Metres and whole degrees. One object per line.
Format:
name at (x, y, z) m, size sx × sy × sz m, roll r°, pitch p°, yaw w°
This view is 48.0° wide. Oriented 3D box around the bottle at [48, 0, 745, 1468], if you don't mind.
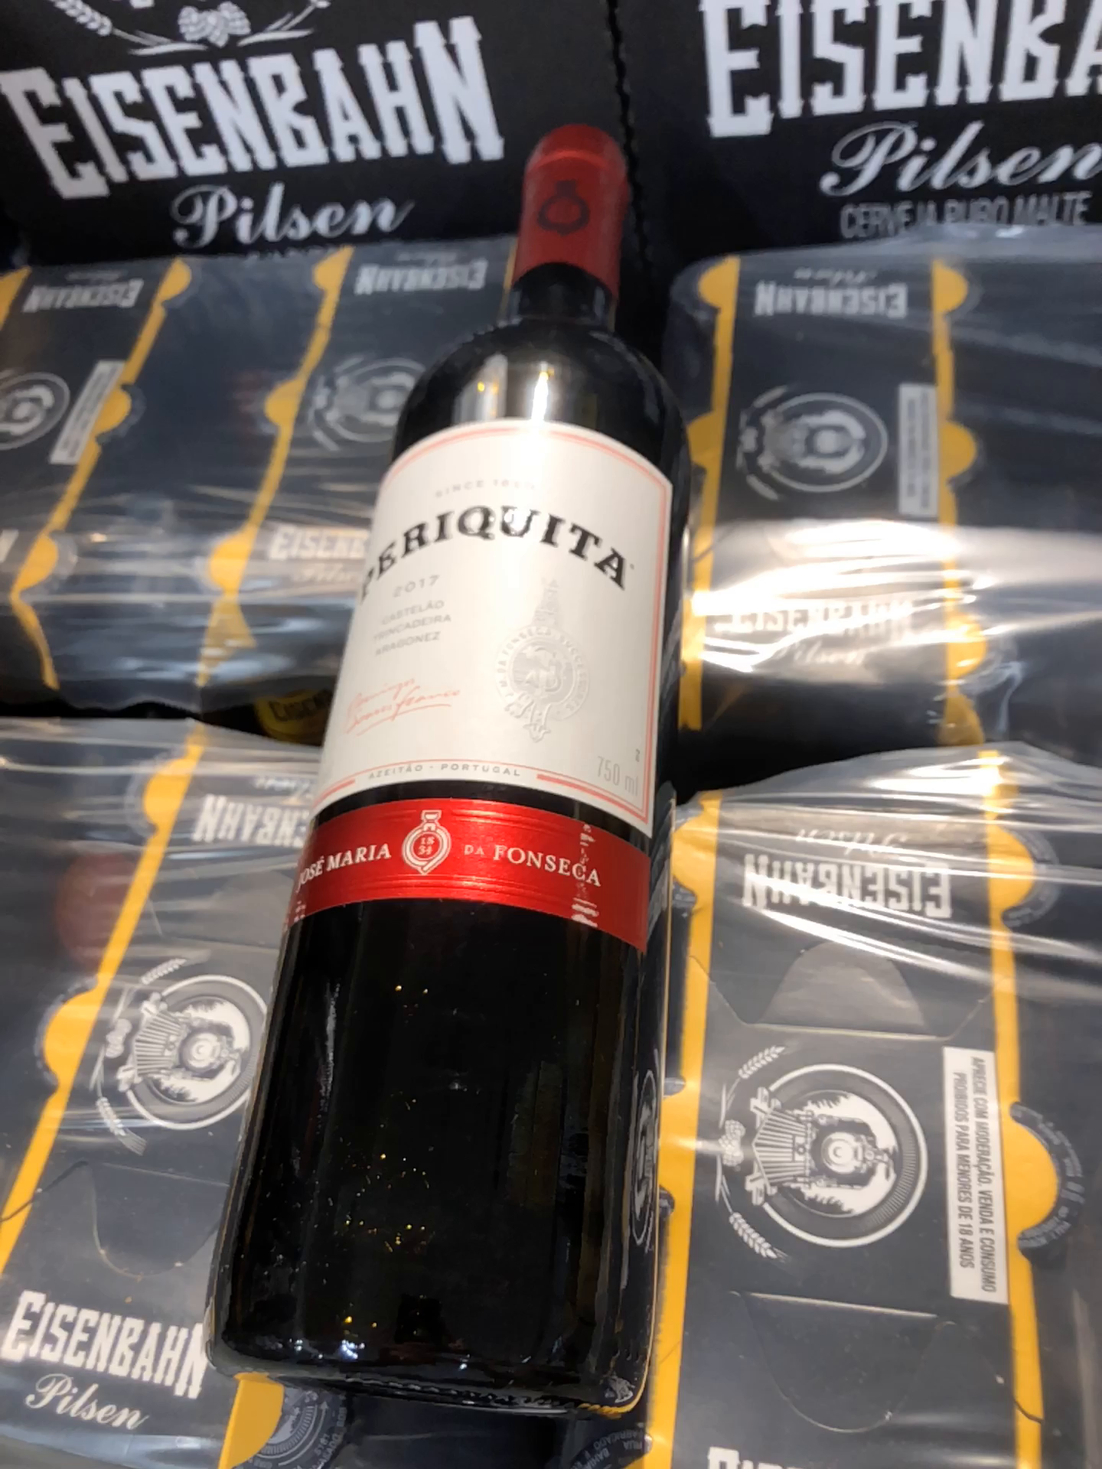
bottle at (-0.002, -0.040, 0.262) m, size 0.080 × 0.070 × 0.332 m, roll 0°, pitch 58°, yaw 10°
